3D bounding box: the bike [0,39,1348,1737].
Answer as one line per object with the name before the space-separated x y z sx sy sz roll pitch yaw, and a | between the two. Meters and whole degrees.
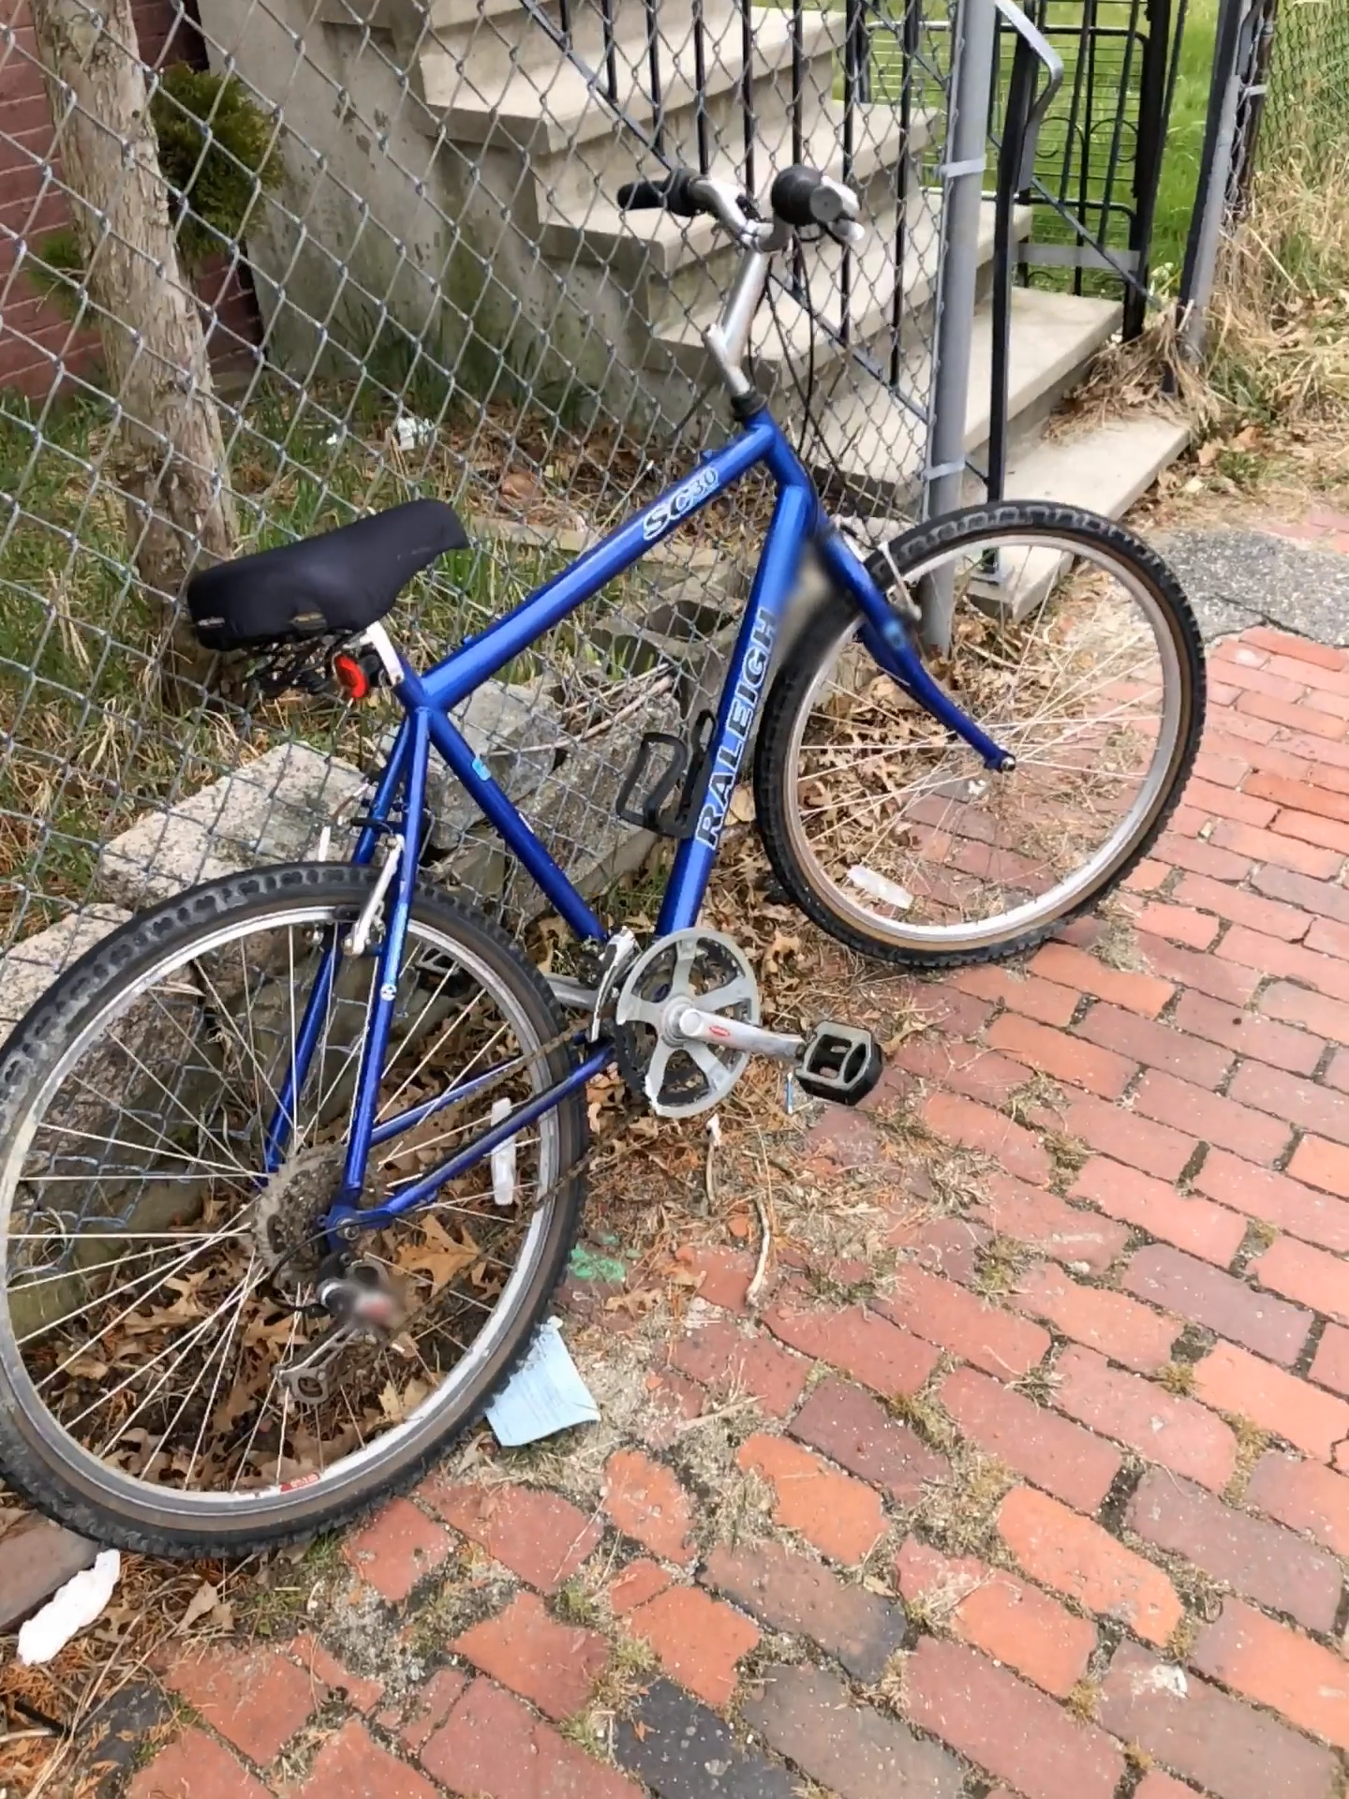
bike | -0.076 -0.191 1.582 1.669 1.024 0.681 -31 42 -29
